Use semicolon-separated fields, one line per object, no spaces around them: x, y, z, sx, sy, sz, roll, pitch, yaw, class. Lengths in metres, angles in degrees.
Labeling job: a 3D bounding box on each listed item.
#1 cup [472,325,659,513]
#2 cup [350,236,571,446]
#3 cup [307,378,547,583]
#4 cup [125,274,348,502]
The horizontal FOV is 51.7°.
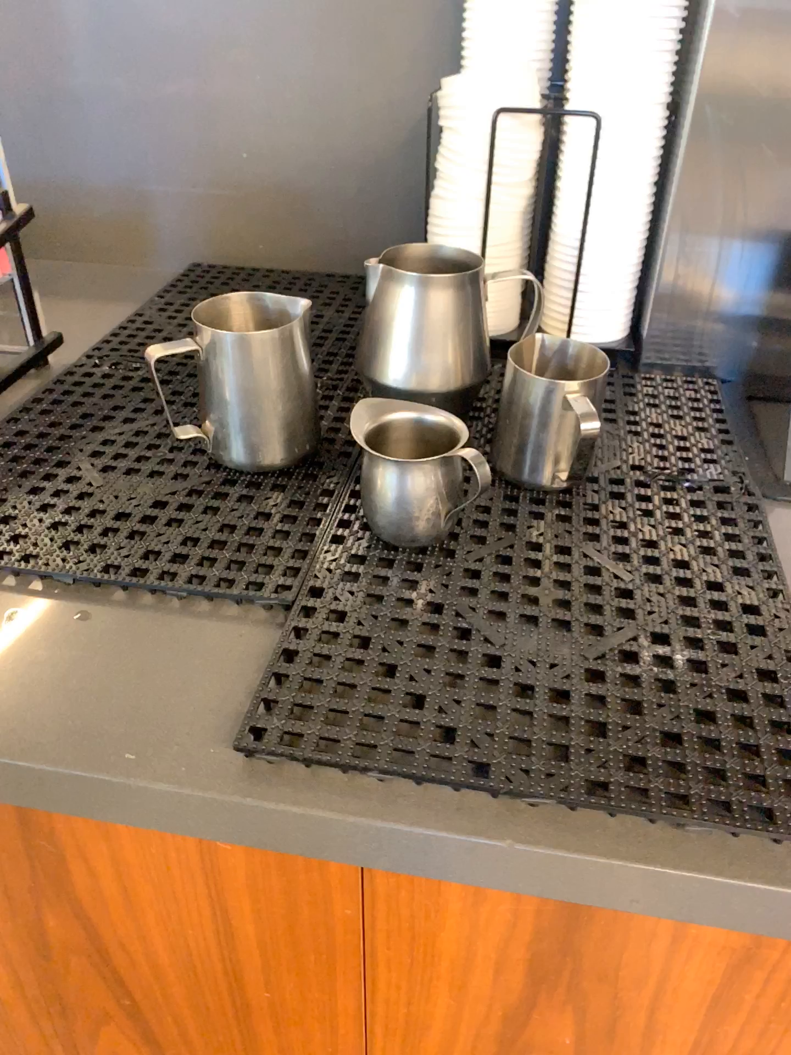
0.110;-0.078;0.561;0.080;0.080;0.111;-7;36;-11;cup
0.043;-0.149;0.647;0.150;0.129;0.101;-3;35;-5;cup
0.017;-0.034;0.504;0.120;0.060;0.080;30;44;34;cup
-0.107;-0.101;0.574;0.120;0.109;0.080;-24;42;-31;cup
